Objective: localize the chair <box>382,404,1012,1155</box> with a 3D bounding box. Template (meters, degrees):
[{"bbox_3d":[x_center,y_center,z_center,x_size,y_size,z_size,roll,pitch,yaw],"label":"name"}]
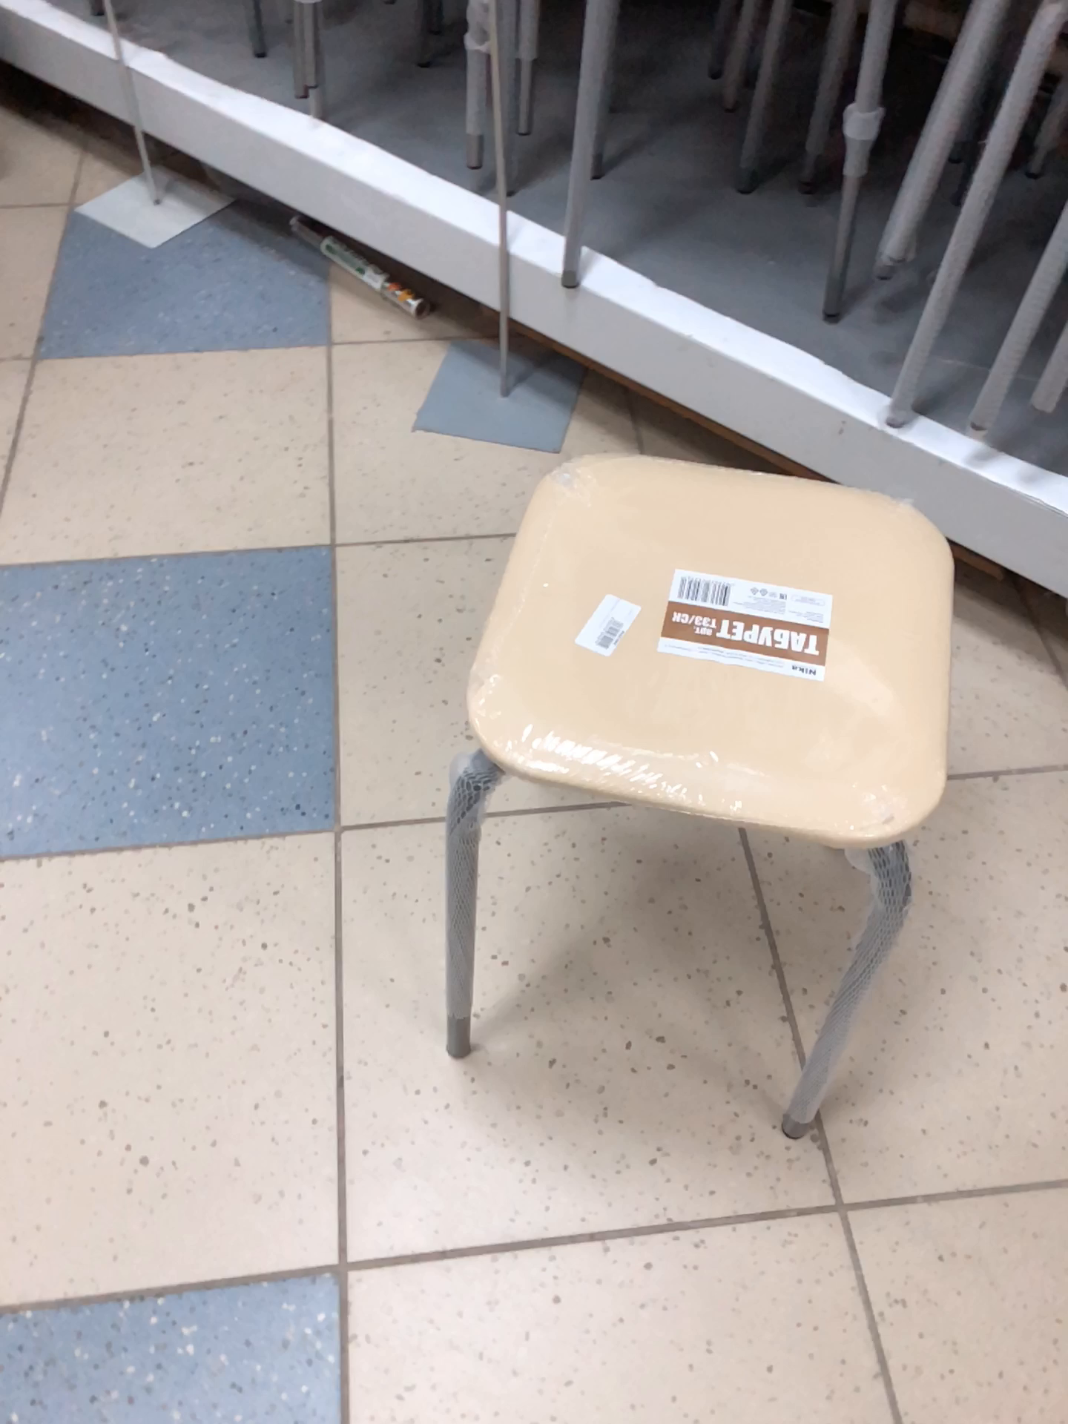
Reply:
[{"bbox_3d":[0.114,0.069,0.888,0.340,0.437,0.312,12,52,8],"label":"chair"}]
